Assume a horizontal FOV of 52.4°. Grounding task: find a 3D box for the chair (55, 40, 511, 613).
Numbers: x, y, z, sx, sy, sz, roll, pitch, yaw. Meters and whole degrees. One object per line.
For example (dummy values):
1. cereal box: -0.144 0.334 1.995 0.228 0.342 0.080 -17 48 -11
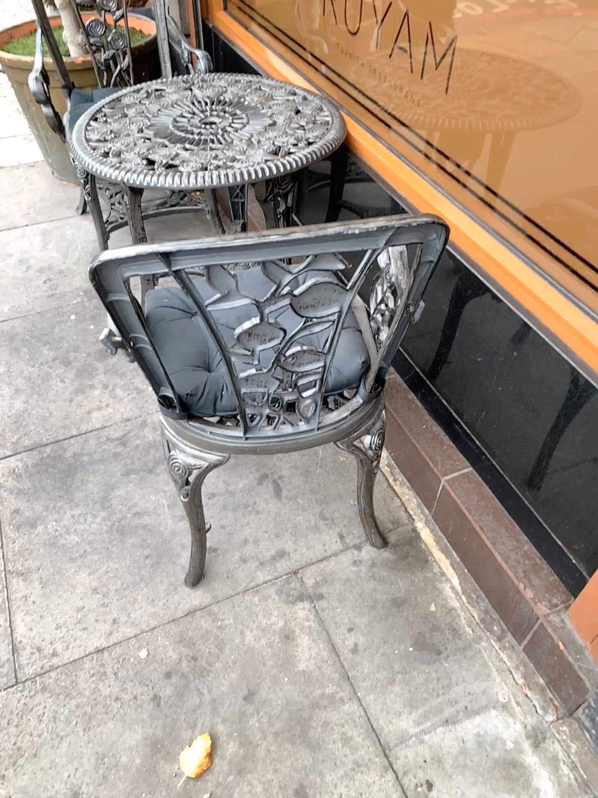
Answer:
1. chair: -0.082 -0.085 1.140 0.490 0.852 0.555 -11 51 -11
